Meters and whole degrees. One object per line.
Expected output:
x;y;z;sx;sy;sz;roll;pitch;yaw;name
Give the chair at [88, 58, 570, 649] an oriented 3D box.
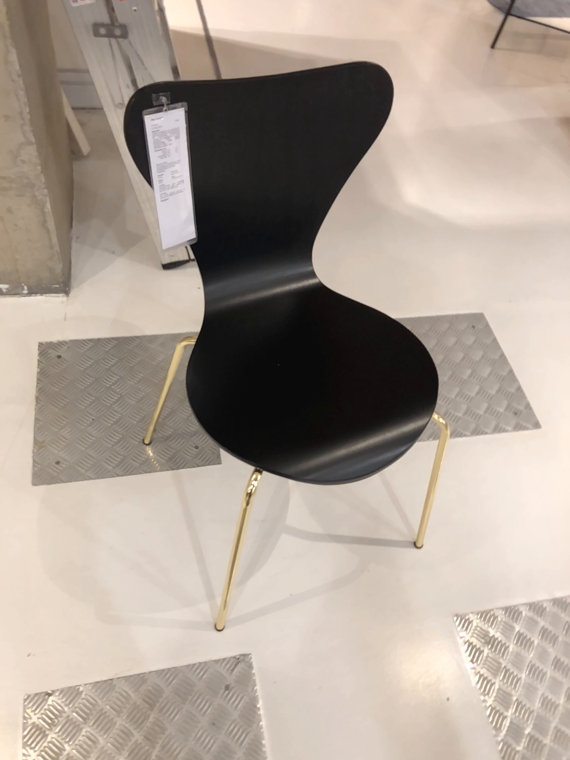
0.032;-0.007;1.072;0.511;0.775;0.542;-15;56;-19;chair
